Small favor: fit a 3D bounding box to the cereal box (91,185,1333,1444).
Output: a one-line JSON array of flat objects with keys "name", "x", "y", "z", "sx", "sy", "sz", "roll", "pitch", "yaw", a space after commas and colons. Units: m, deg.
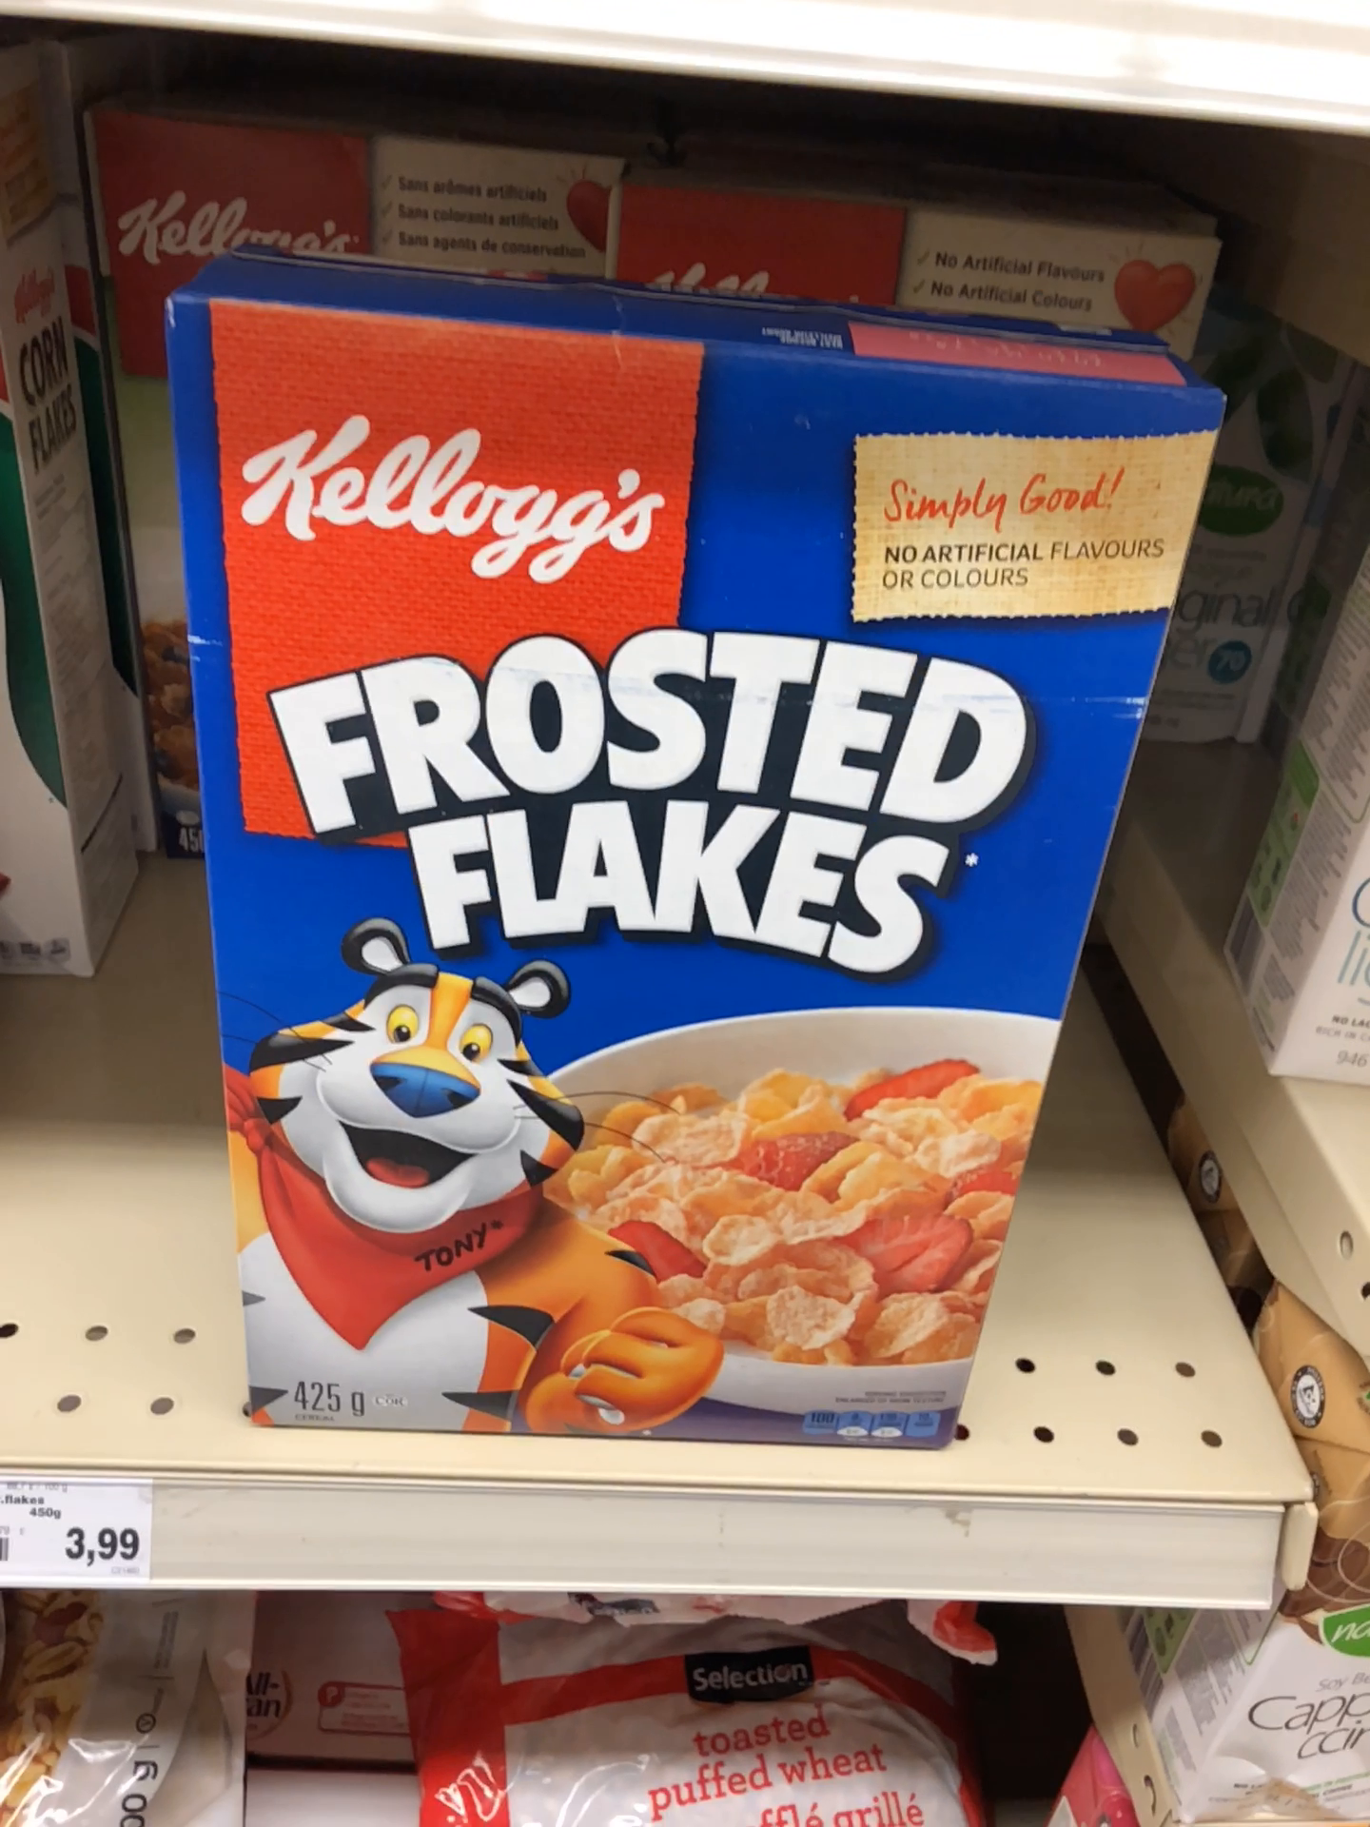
[{"name": "cereal box", "x": -0.005, "y": -0.003, "z": 0.350, "sx": 0.210, "sy": 0.278, "sz": 0.060, "roll": 4, "pitch": 30, "yaw": -3}]
